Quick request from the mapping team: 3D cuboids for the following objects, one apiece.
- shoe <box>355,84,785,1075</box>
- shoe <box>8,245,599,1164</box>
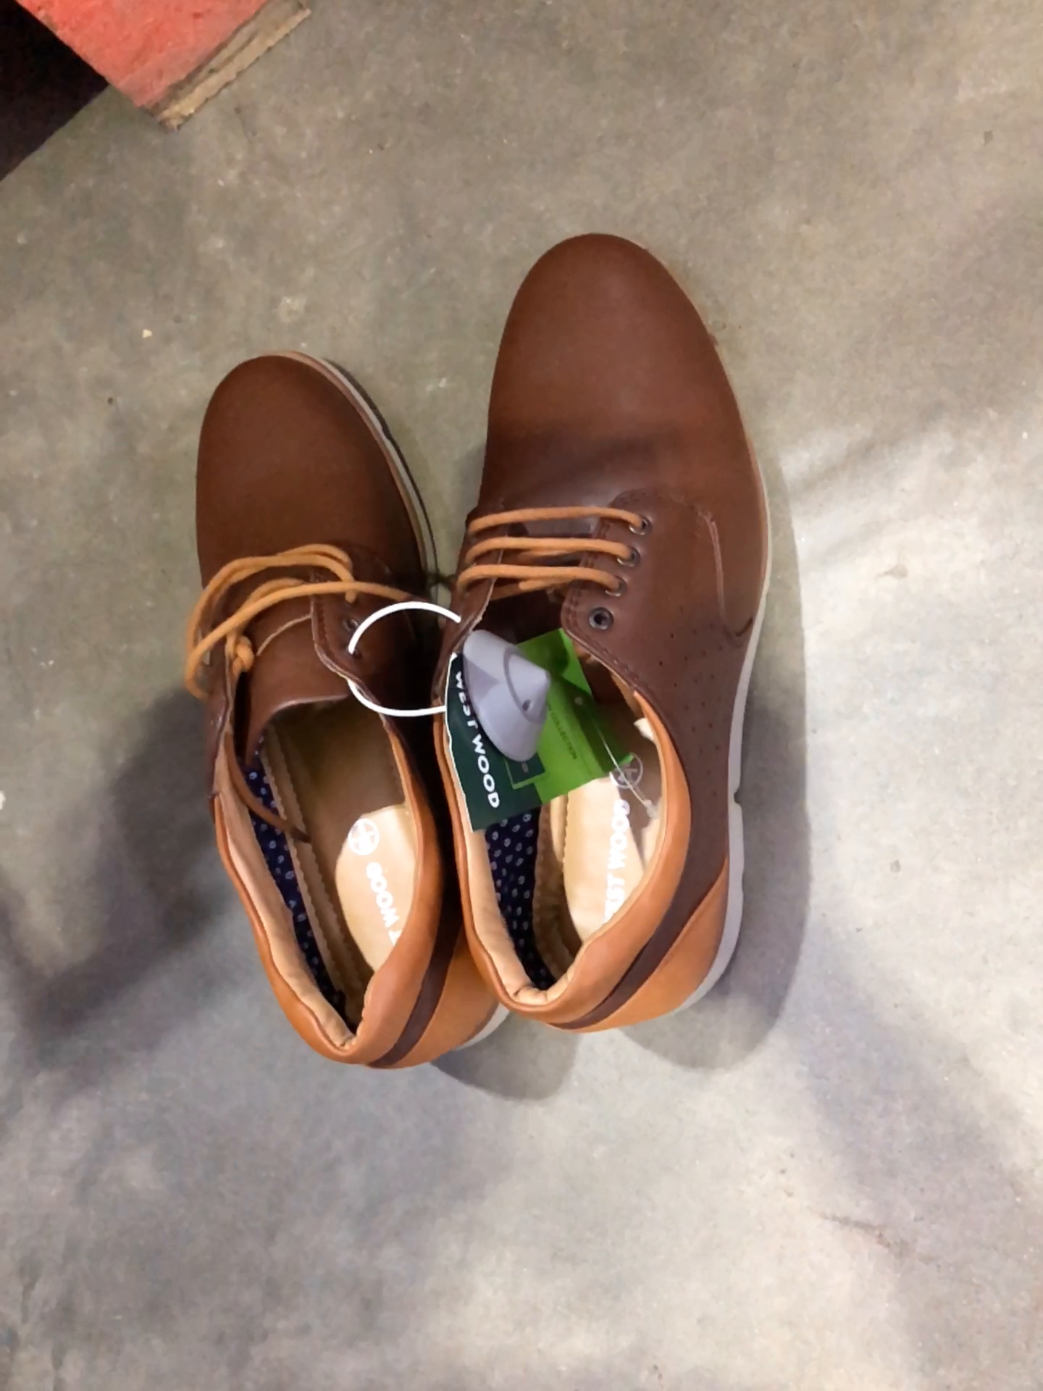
[{"bbox_3d":[0.026,-0.034,0.435,0.120,0.130,0.310,-2,82,21],"label":"shoe"},{"bbox_3d":[-0.079,0.004,0.430,0.110,0.120,0.280,-21,76,17],"label":"shoe"}]
